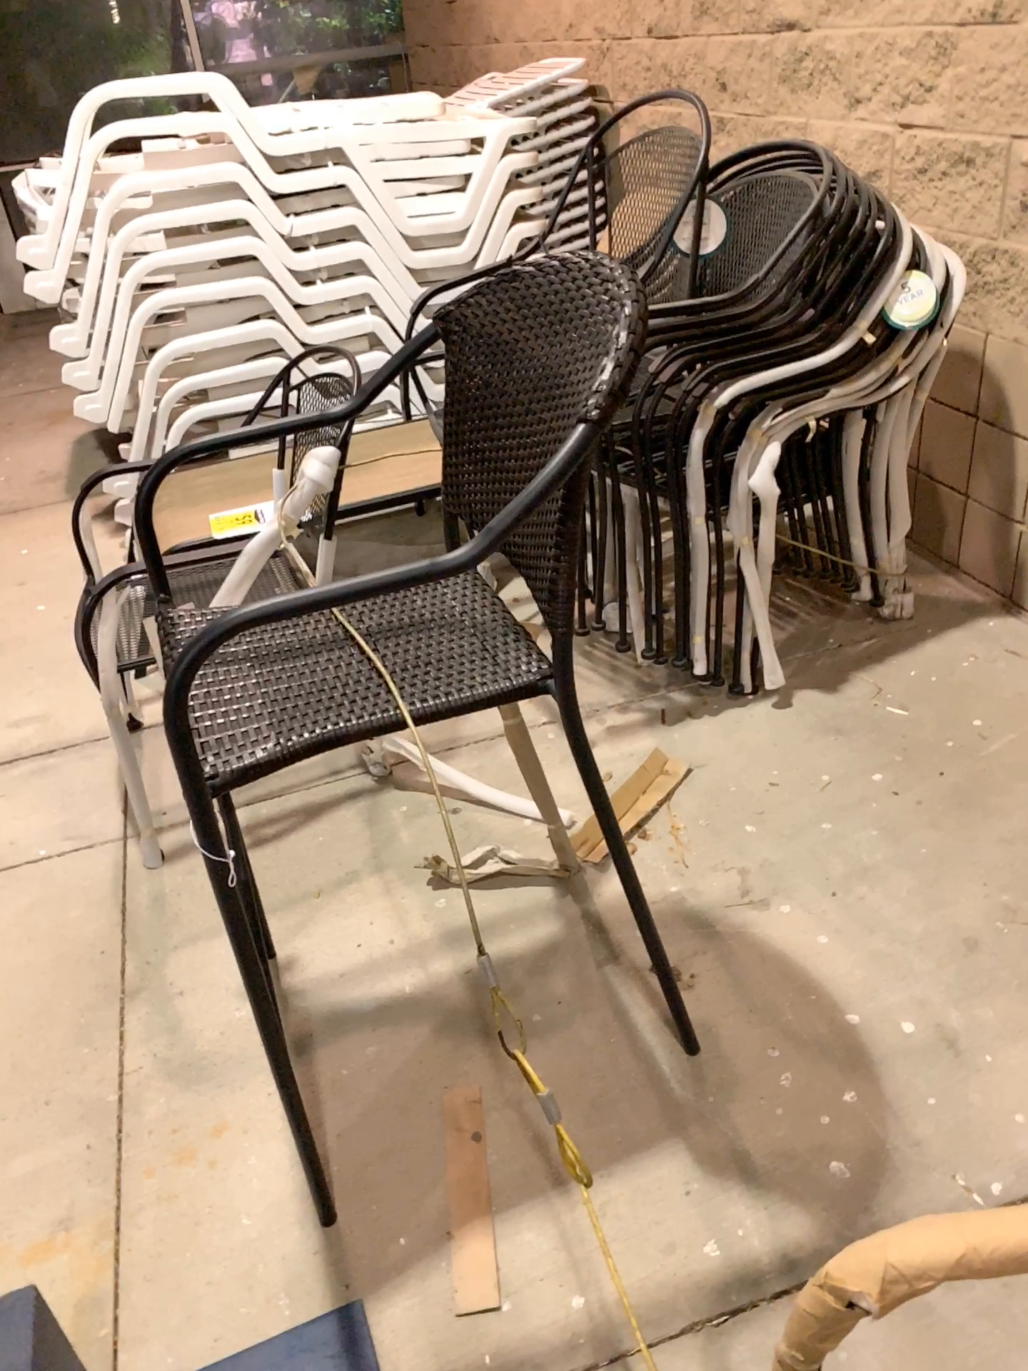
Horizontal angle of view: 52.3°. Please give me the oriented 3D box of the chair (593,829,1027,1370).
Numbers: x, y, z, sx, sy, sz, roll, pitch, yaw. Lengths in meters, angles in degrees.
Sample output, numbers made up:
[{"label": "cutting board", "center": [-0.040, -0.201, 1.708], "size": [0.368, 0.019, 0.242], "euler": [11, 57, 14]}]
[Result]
[{"label": "chair", "center": [0.428, 0.627, 0.574], "size": [0.627, 0.832, 0.570], "euler": [-8, 32, 0]}]

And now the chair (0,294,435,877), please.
[{"label": "chair", "center": [-0.595, -0.218, 2.028], "size": [0.607, 0.832, 0.580], "euler": [-18, 34, -15]}]

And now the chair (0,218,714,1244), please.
[{"label": "chair", "center": [-0.152, 0.060, 1.383], "size": [0.607, 1.101, 0.560], "euler": [-16, 33, -13]}]
